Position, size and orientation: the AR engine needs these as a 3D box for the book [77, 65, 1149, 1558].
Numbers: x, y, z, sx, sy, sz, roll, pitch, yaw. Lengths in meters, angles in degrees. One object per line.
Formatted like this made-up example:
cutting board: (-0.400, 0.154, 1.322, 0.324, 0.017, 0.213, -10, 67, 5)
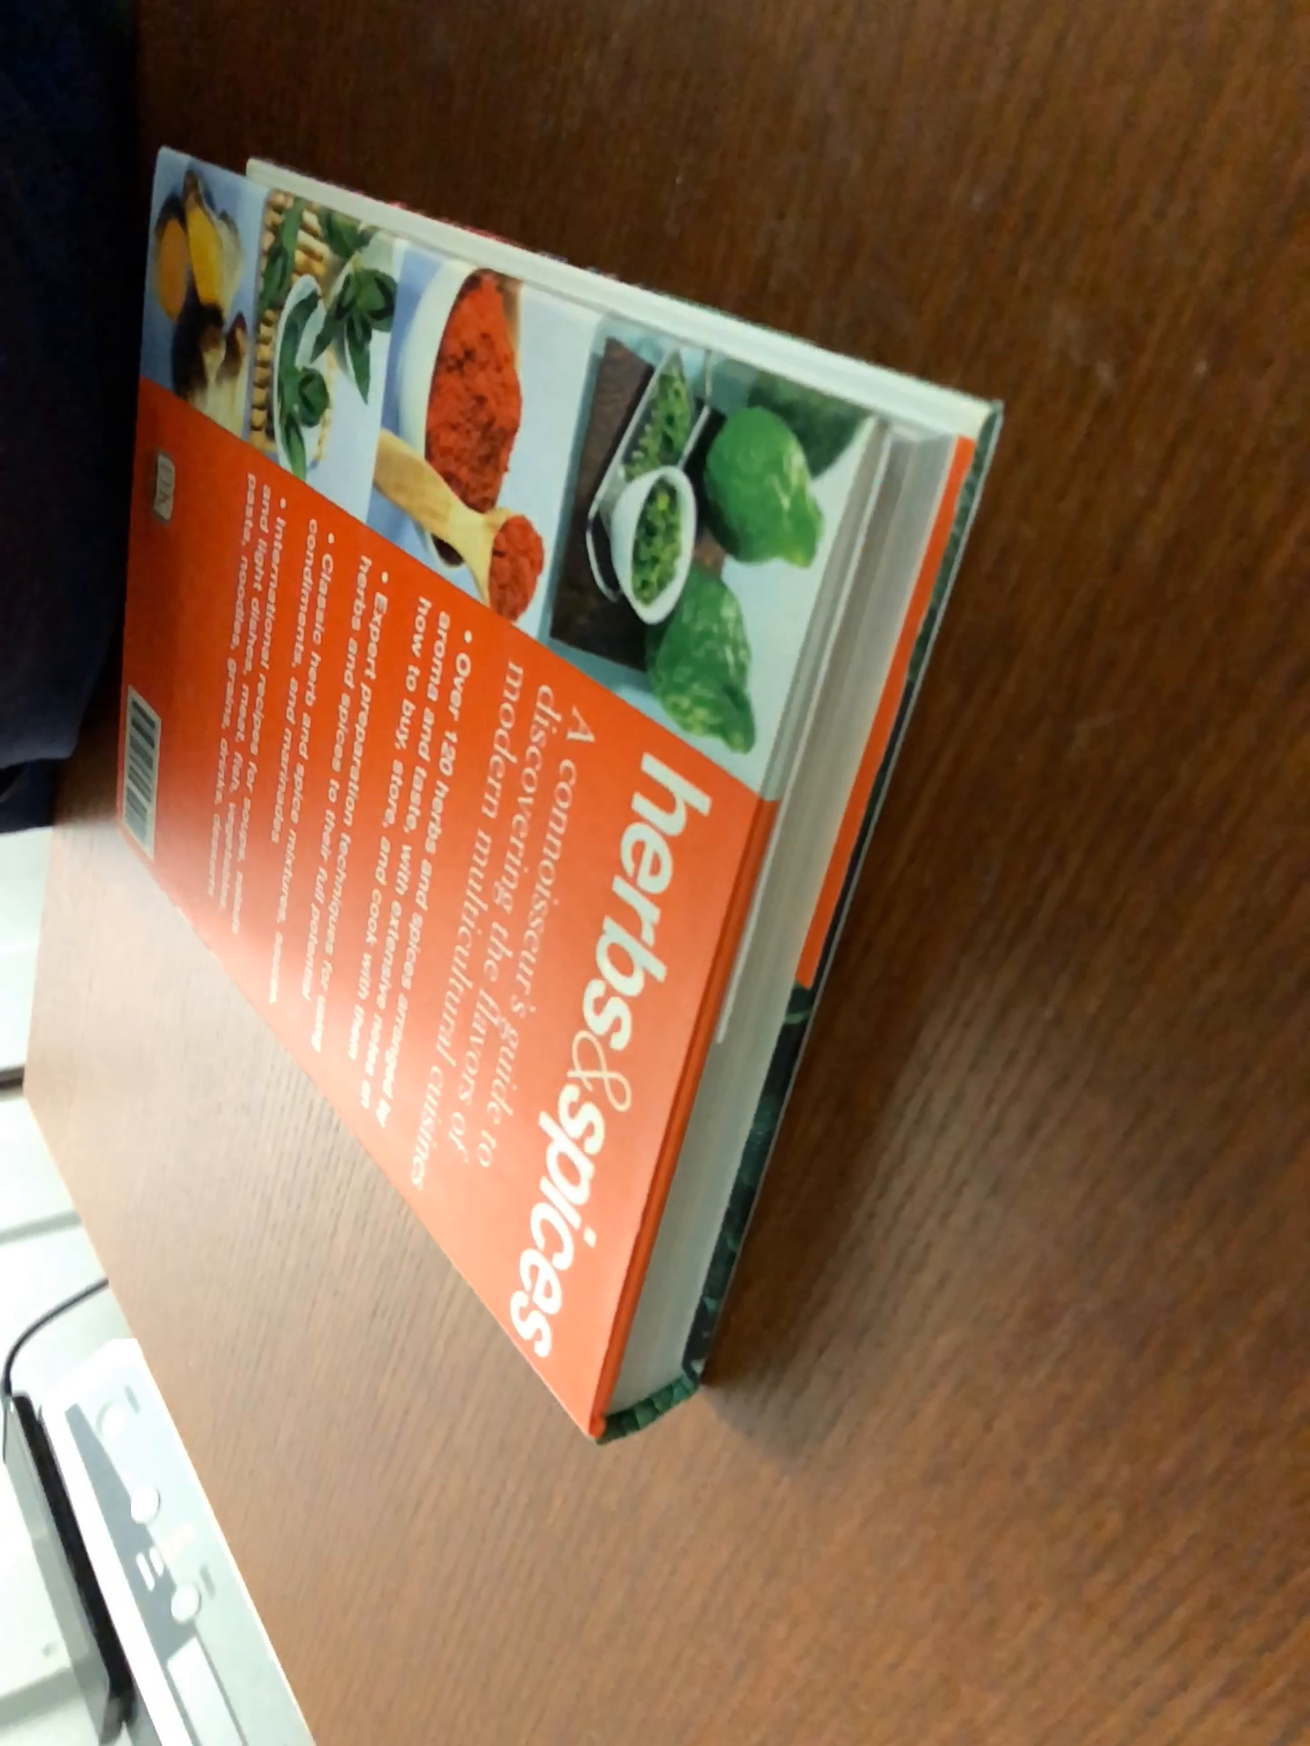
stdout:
book: (-0.054, -0.036, 0.312, 0.271, 0.040, 0.210, 40, 126, 40)
